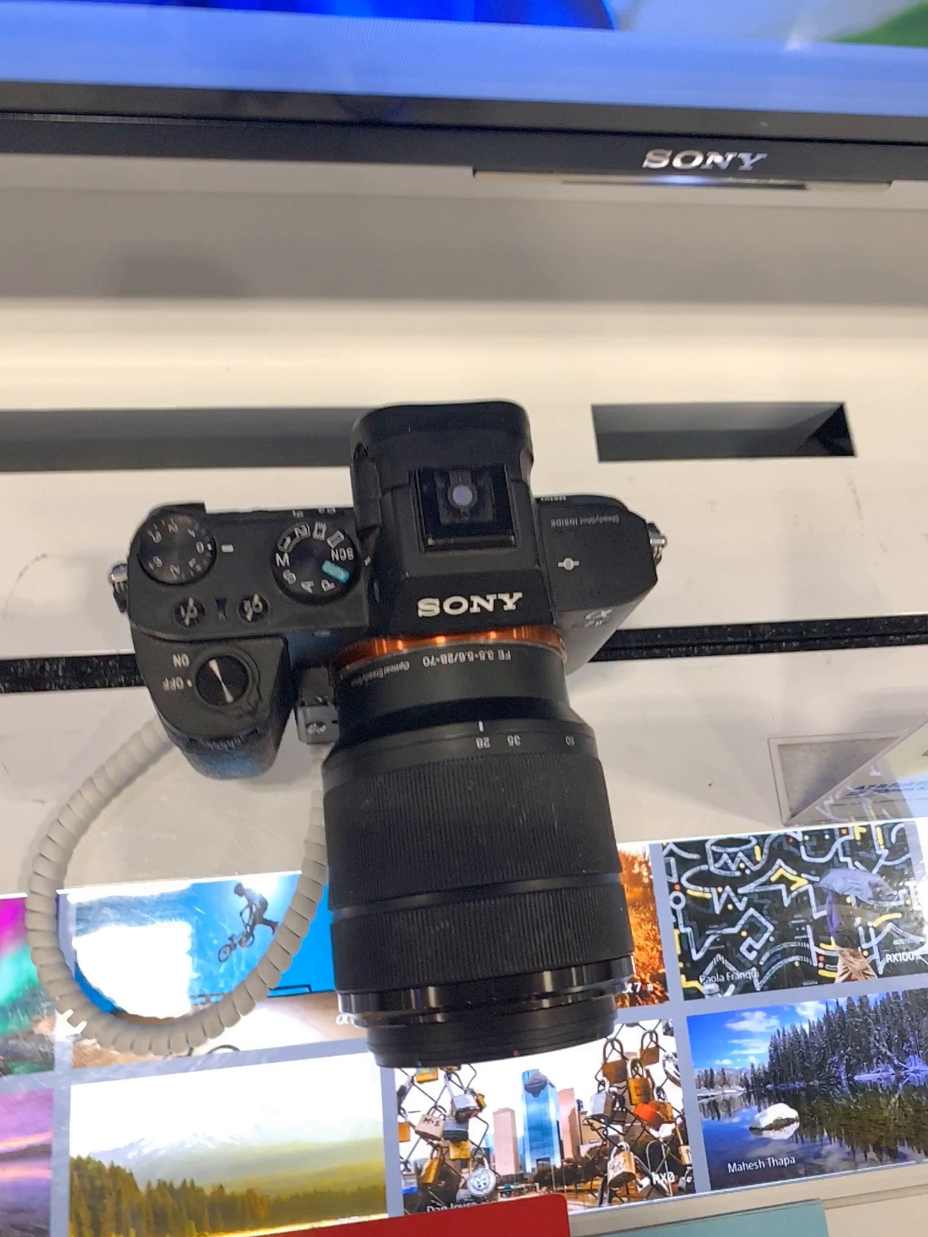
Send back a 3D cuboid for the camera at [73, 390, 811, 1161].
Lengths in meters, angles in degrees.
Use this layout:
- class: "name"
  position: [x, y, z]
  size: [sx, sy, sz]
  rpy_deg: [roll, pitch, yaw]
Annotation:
- class: "camera"
  position: [-0.012, 0.033, 0.232]
  size: [0.130, 0.091, 0.141]
  rpy_deg: [-3, 73, -7]
